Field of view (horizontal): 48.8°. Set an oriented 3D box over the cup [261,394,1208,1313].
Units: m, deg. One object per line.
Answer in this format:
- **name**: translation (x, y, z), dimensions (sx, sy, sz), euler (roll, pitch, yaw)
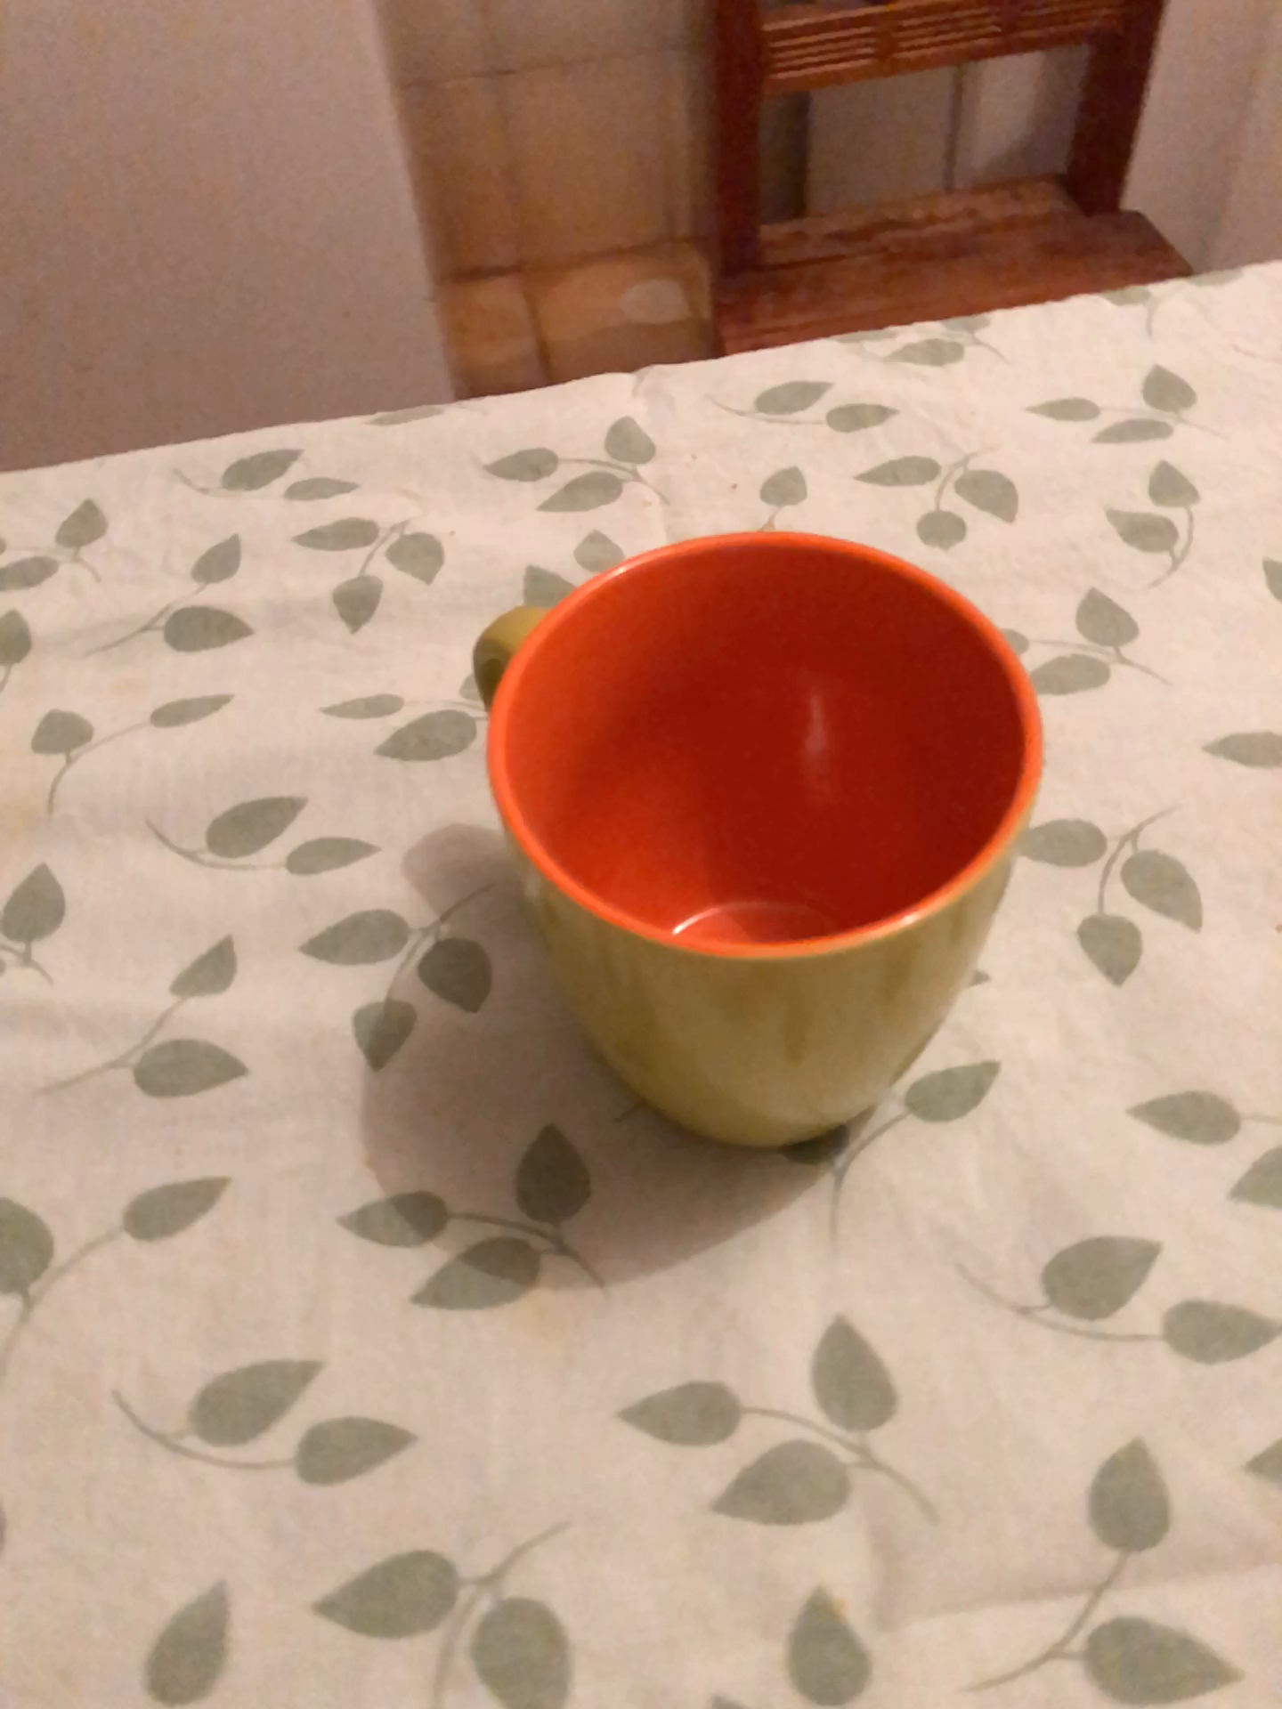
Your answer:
- **cup**: translation (0.015, -0.002, 0.261), dimensions (0.120, 0.089, 0.090), euler (33, 63, 24)
